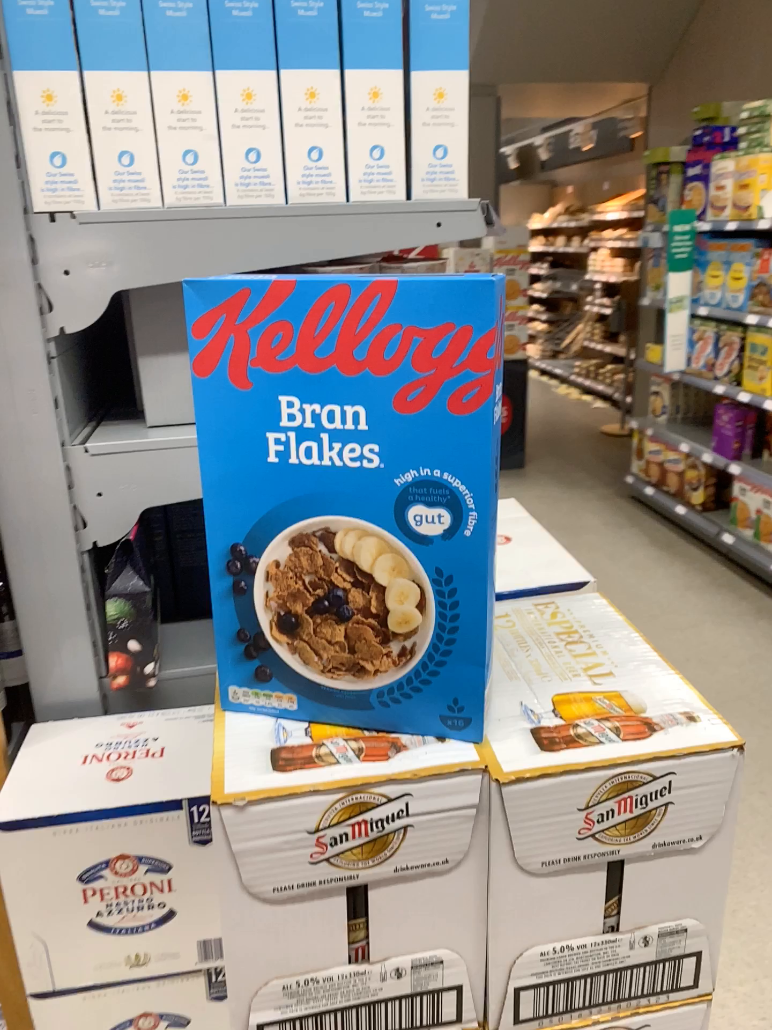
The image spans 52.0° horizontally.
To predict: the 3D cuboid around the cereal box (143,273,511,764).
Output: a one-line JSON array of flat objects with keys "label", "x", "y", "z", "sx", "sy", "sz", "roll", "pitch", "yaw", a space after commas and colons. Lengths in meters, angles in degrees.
[{"label": "cereal box", "x": -0.031, "y": -0.001, "z": 0.501, "sx": 0.200, "sy": 0.288, "sz": 0.070, "roll": 4, "pitch": 18, "yaw": 13}]
